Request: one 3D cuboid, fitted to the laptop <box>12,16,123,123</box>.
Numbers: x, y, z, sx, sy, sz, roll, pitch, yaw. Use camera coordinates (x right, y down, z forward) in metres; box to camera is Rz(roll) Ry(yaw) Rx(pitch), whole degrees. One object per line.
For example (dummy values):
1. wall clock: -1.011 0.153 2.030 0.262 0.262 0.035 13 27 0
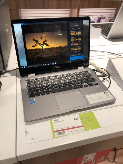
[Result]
1. laptop: 0.012 -0.077 0.489 0.320 0.211 0.291 -10 42 -15
